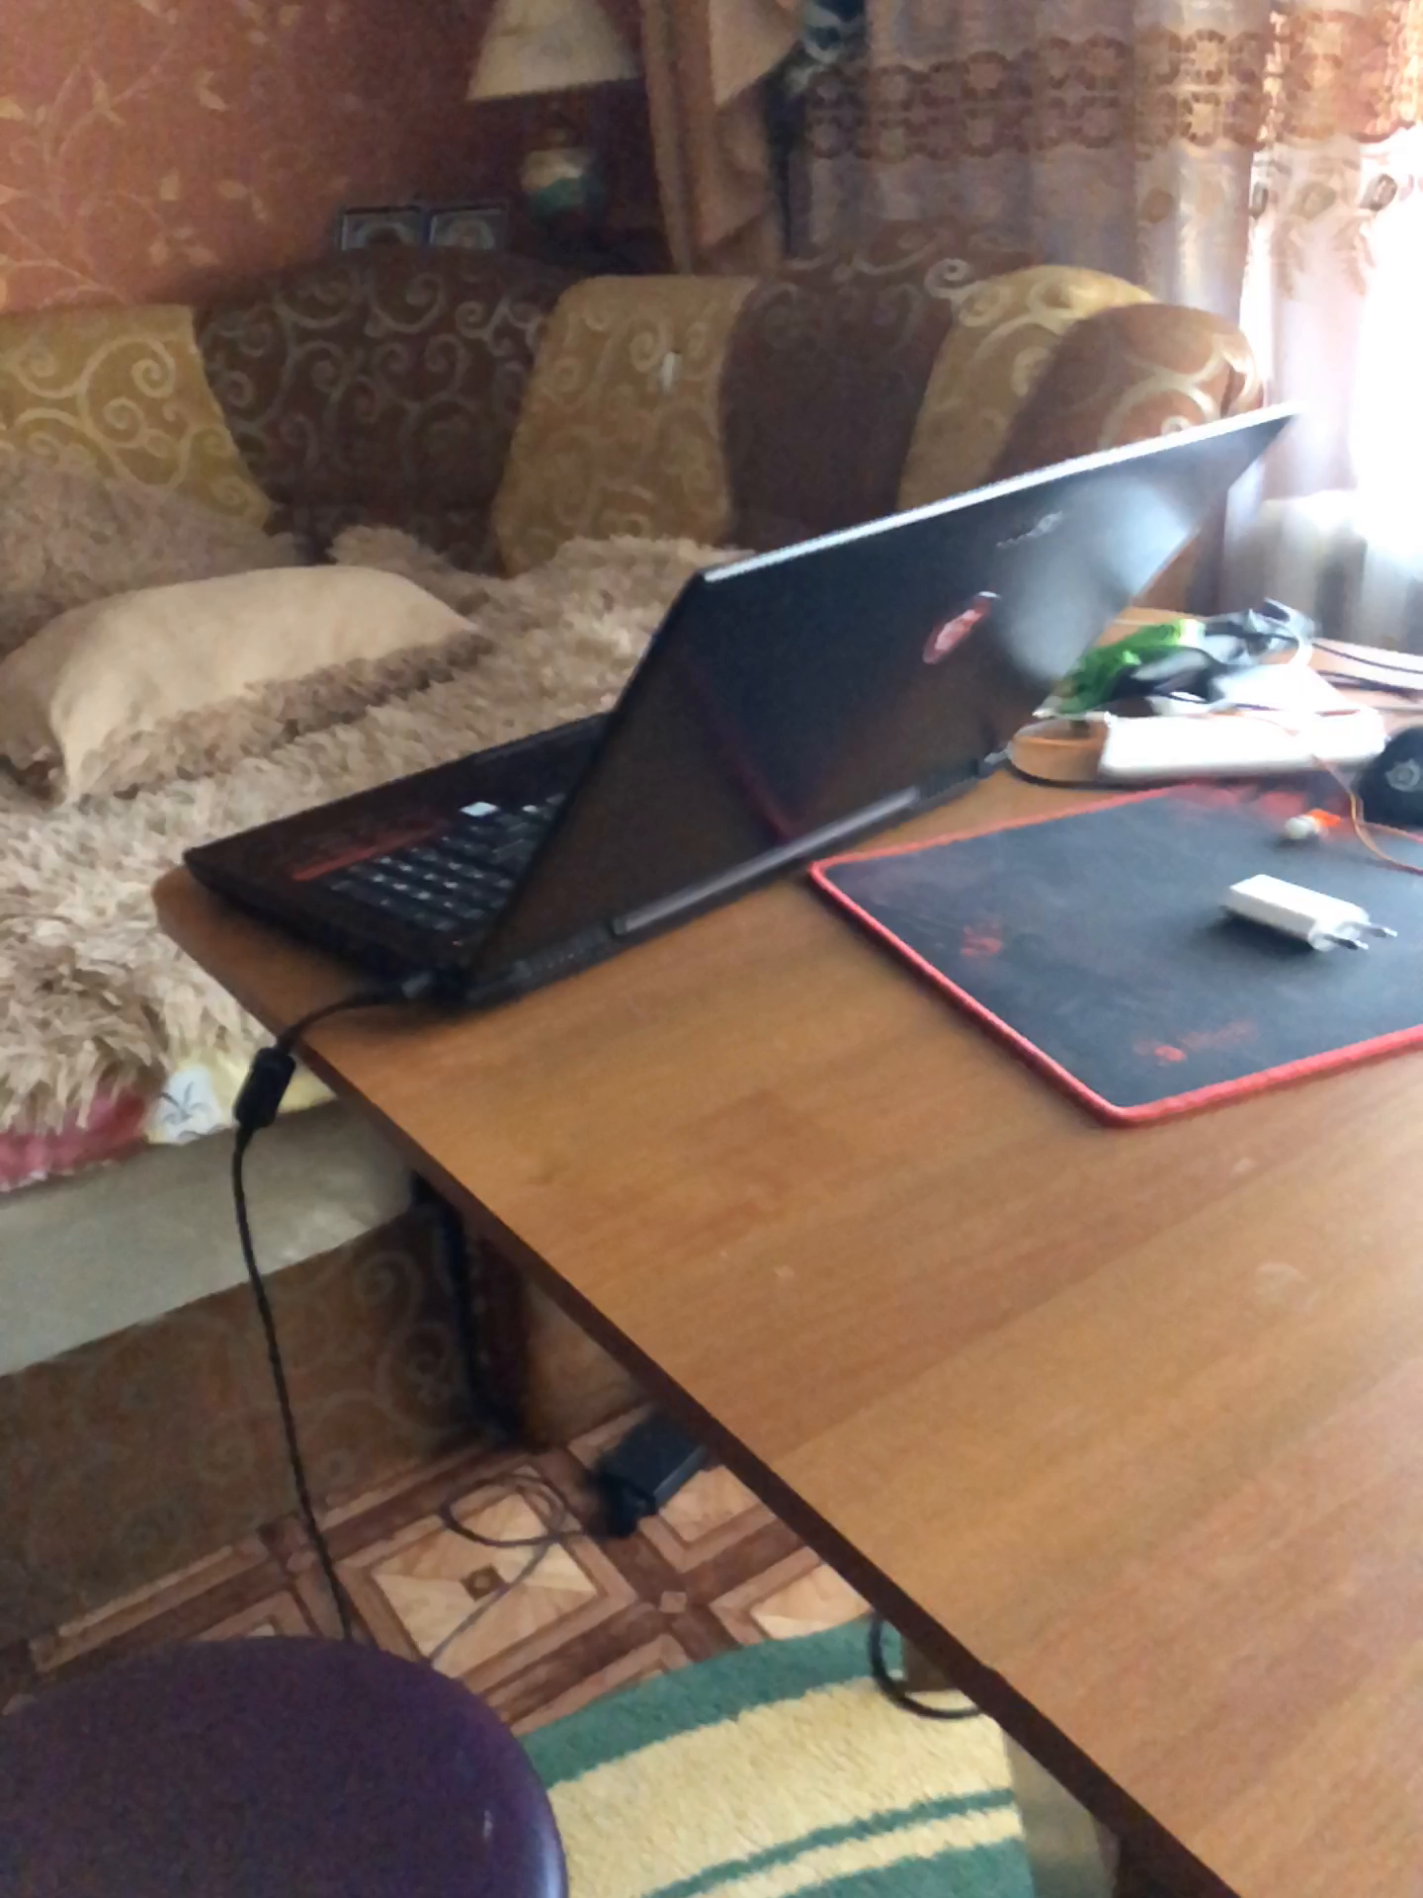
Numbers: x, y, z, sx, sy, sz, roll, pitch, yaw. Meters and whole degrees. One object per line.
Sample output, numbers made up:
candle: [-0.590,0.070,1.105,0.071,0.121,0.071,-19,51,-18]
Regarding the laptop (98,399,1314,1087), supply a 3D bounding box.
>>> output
laptop: [-0.007,-0.146,0.751,0.374,0.174,0.410,-26,31,-38]
